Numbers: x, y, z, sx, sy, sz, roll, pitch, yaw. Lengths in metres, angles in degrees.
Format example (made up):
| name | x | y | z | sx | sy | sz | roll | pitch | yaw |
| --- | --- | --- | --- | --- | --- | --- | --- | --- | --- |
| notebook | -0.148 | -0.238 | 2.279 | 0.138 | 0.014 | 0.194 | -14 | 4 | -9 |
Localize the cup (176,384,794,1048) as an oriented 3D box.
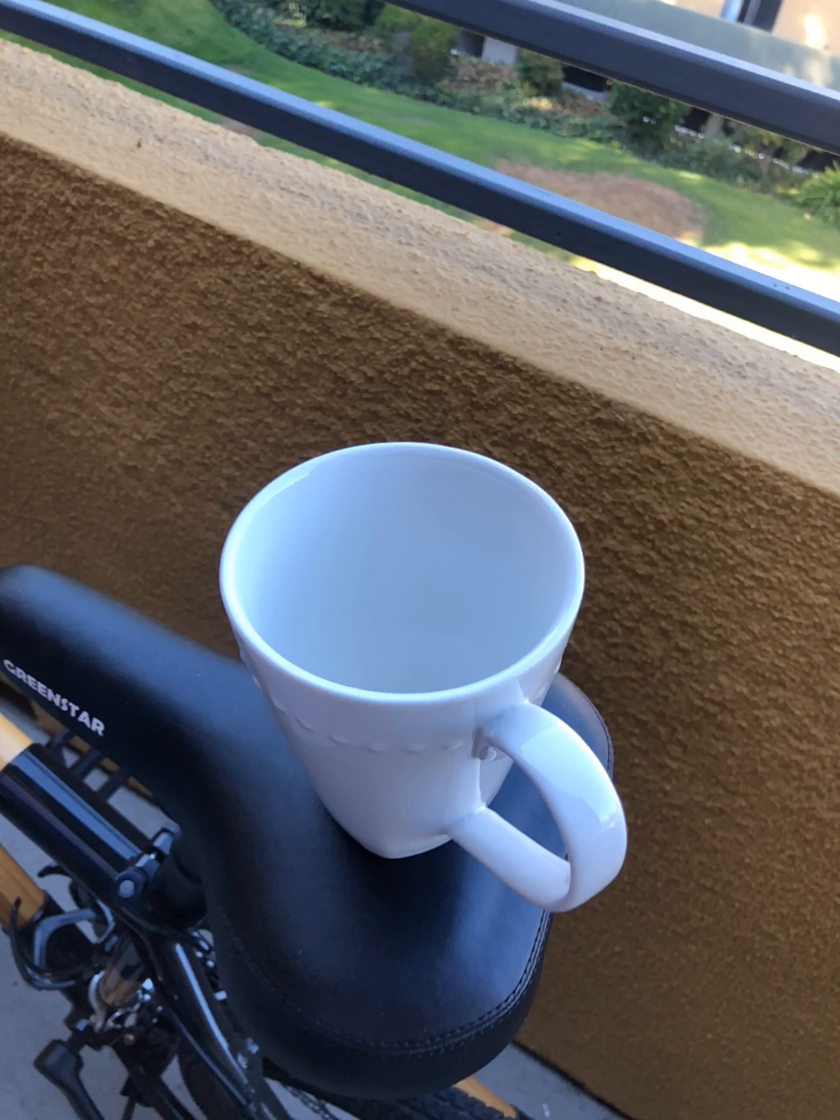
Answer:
| name | x | y | z | sx | sy | sz | roll | pitch | yaw |
| --- | --- | --- | --- | --- | --- | --- | --- | --- | --- |
| cup | 0.008 | 0.038 | 0.268 | 0.090 | 0.100 | 0.130 | -29 | 57 | -33 |
